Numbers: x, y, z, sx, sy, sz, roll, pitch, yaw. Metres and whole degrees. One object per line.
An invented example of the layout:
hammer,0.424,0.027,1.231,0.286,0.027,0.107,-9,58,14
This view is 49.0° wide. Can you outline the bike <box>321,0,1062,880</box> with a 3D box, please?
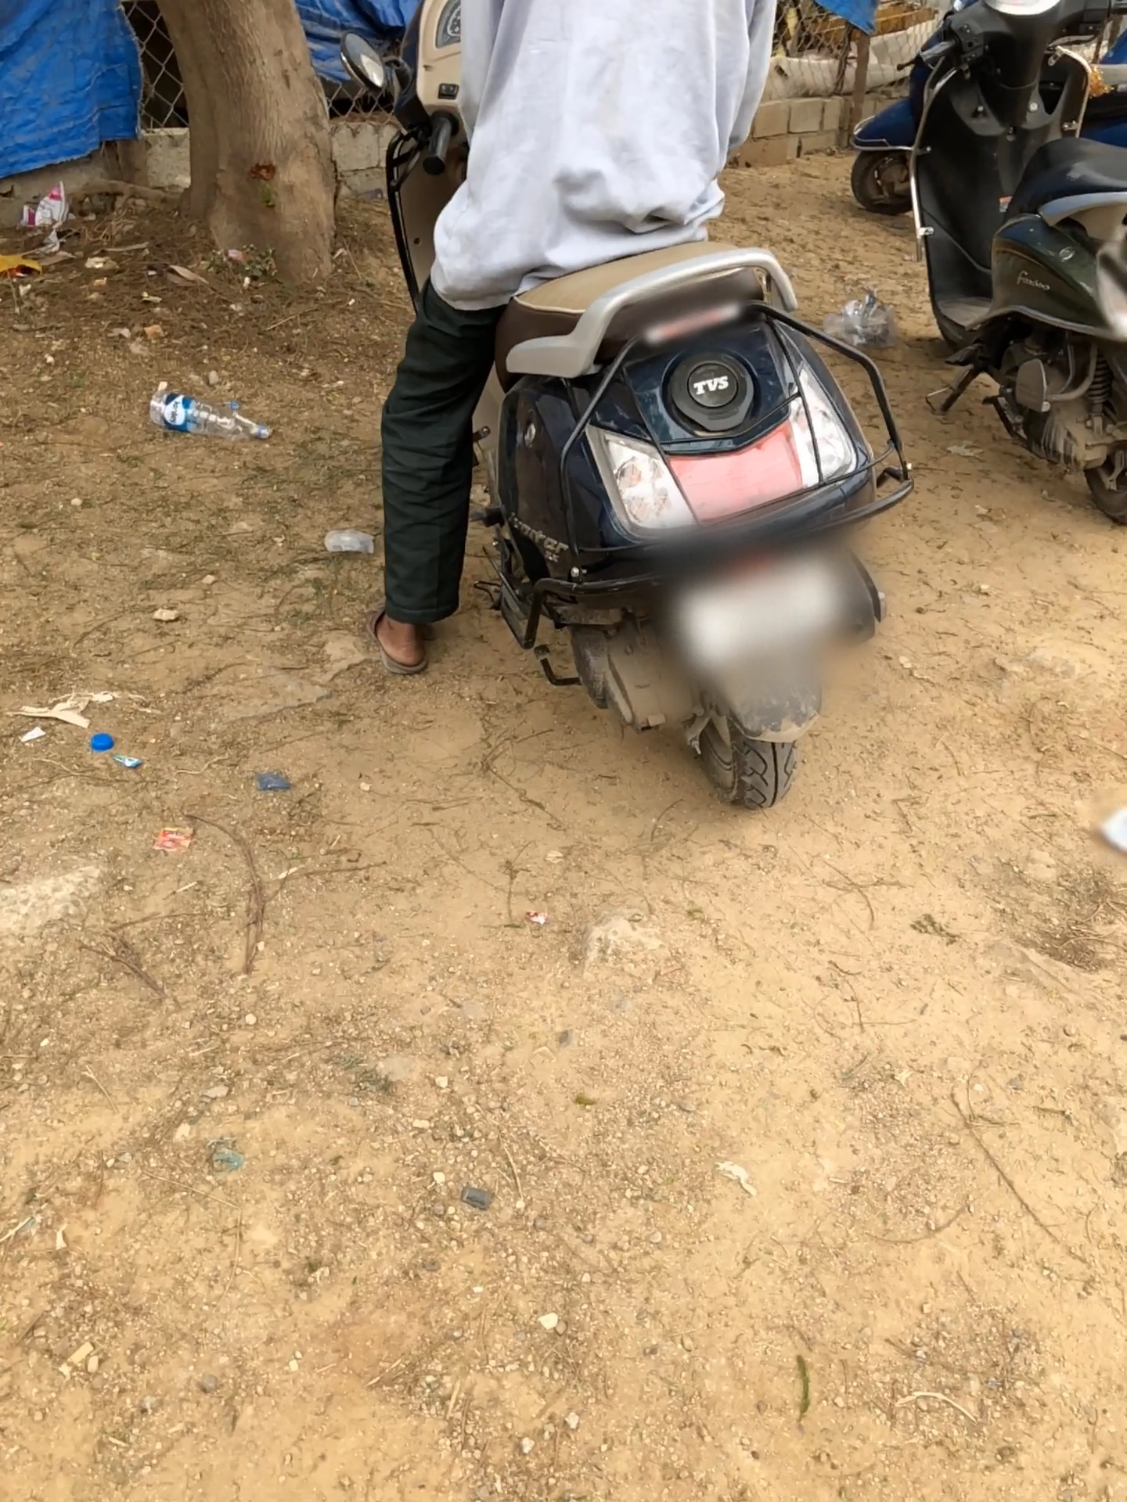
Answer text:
bike,0.028,-0.799,1.981,0.635,1.119,1.349,-5,41,-13
